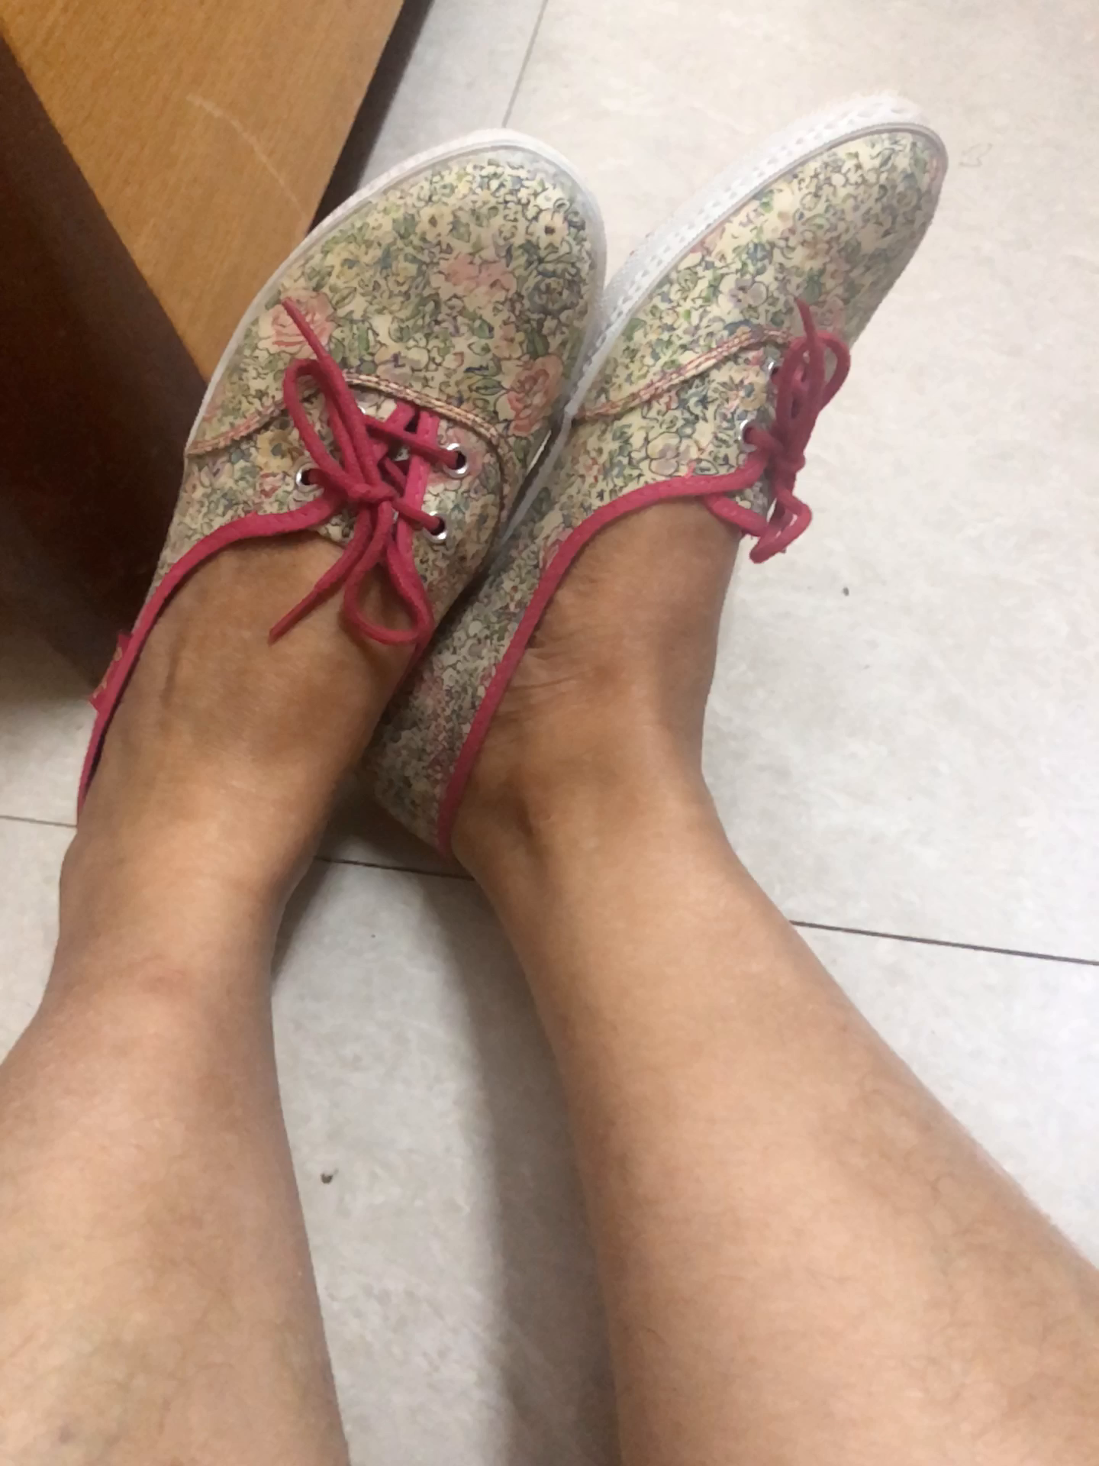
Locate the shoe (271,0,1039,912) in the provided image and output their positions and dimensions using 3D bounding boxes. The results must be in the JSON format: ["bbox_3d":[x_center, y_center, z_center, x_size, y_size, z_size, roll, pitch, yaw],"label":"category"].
[{"bbox_3d":[0.023,-0.068,0.377,0.259,0.090,0.070,-57,49,18],"label":"shoe"}]

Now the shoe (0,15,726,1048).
[{"bbox_3d":[-0.065,-0.043,0.342,0.259,0.090,0.070,-60,20,19],"label":"shoe"}]
